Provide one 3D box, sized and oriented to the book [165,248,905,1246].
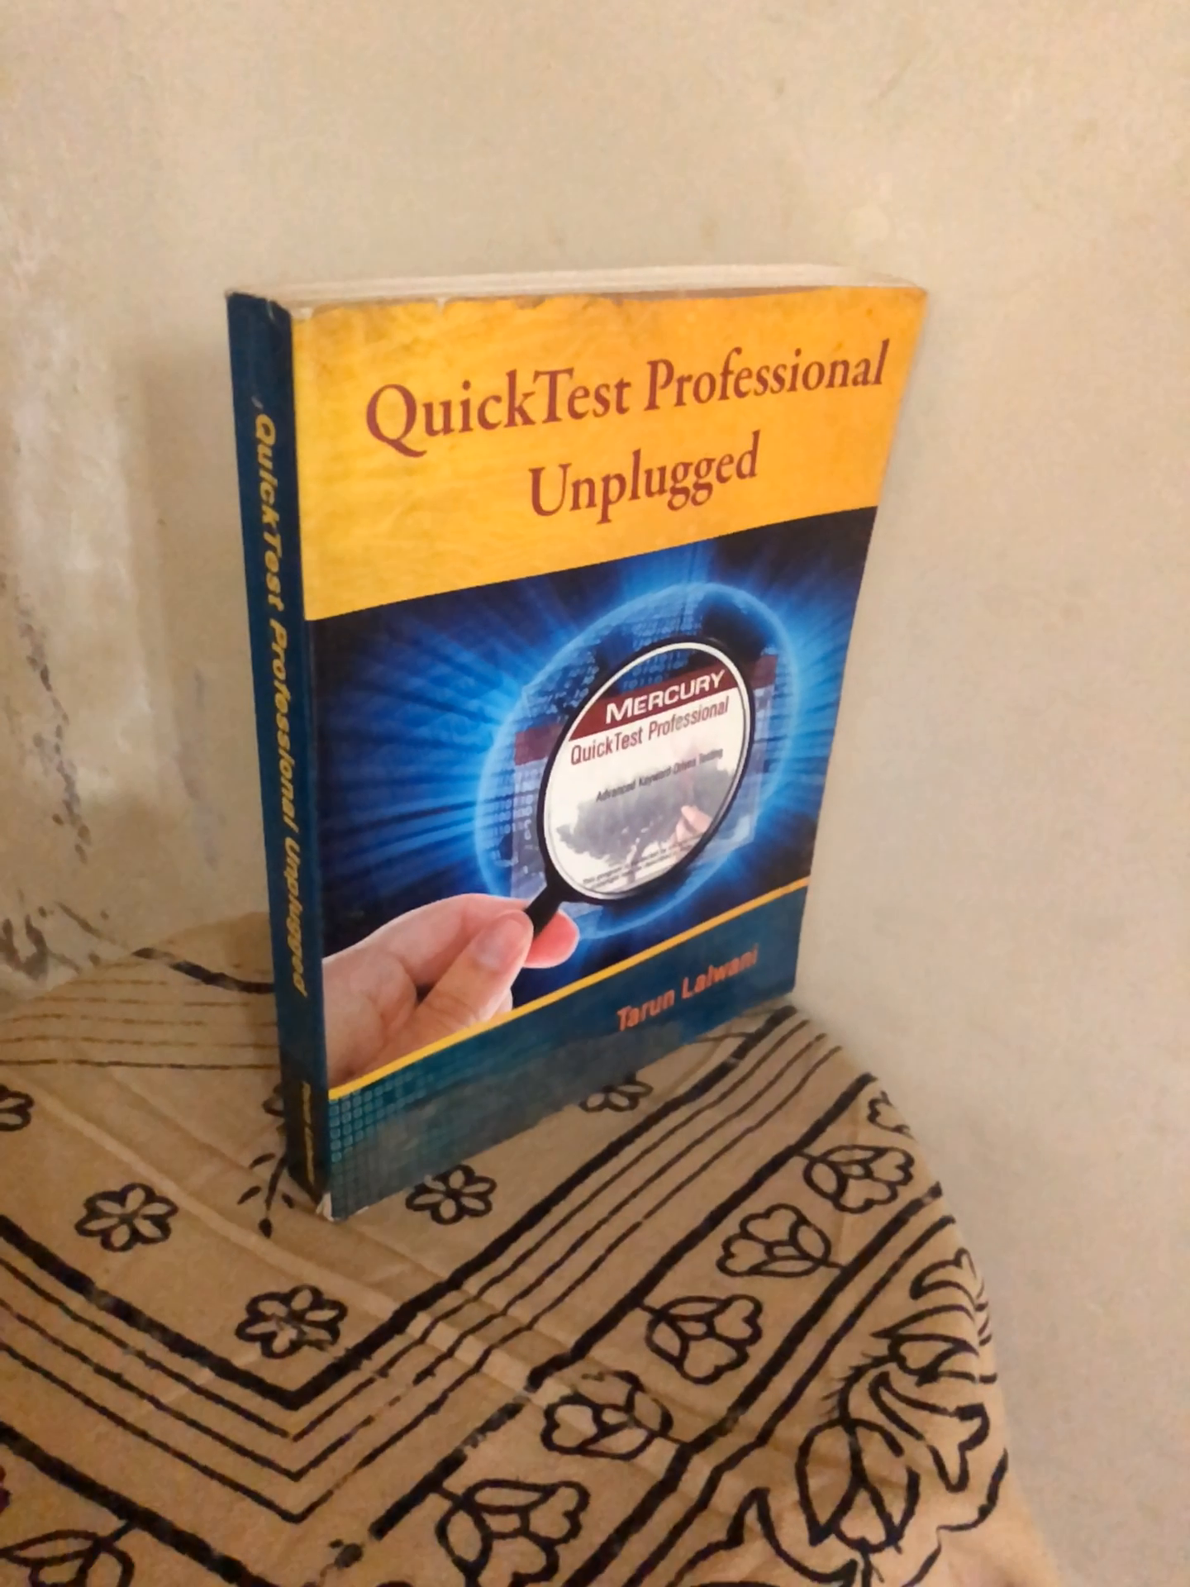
[{"bbox_3d":[-0.013,-0.020,0.413,0.211,0.269,0.050,-15,31,-36],"label":"book"}]
